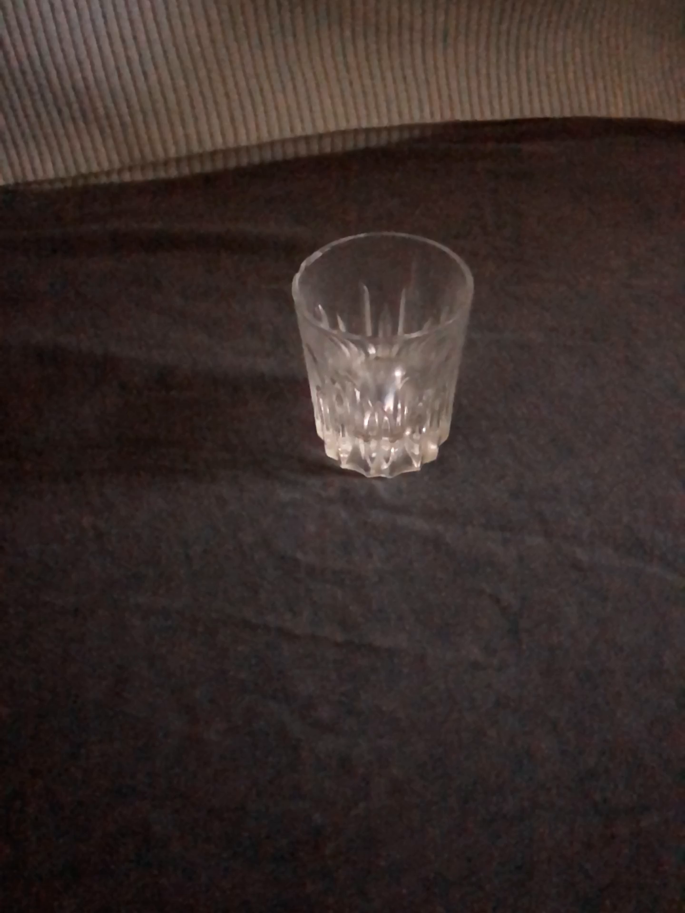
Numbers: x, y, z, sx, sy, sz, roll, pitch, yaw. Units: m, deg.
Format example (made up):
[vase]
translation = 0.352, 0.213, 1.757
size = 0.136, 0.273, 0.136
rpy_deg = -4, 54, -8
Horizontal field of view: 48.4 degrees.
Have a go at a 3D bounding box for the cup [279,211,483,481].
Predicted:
[cup]
translation = 0.011, -0.037, 0.266
size = 0.059, 0.078, 0.048
rpy_deg = -3, 47, -1
